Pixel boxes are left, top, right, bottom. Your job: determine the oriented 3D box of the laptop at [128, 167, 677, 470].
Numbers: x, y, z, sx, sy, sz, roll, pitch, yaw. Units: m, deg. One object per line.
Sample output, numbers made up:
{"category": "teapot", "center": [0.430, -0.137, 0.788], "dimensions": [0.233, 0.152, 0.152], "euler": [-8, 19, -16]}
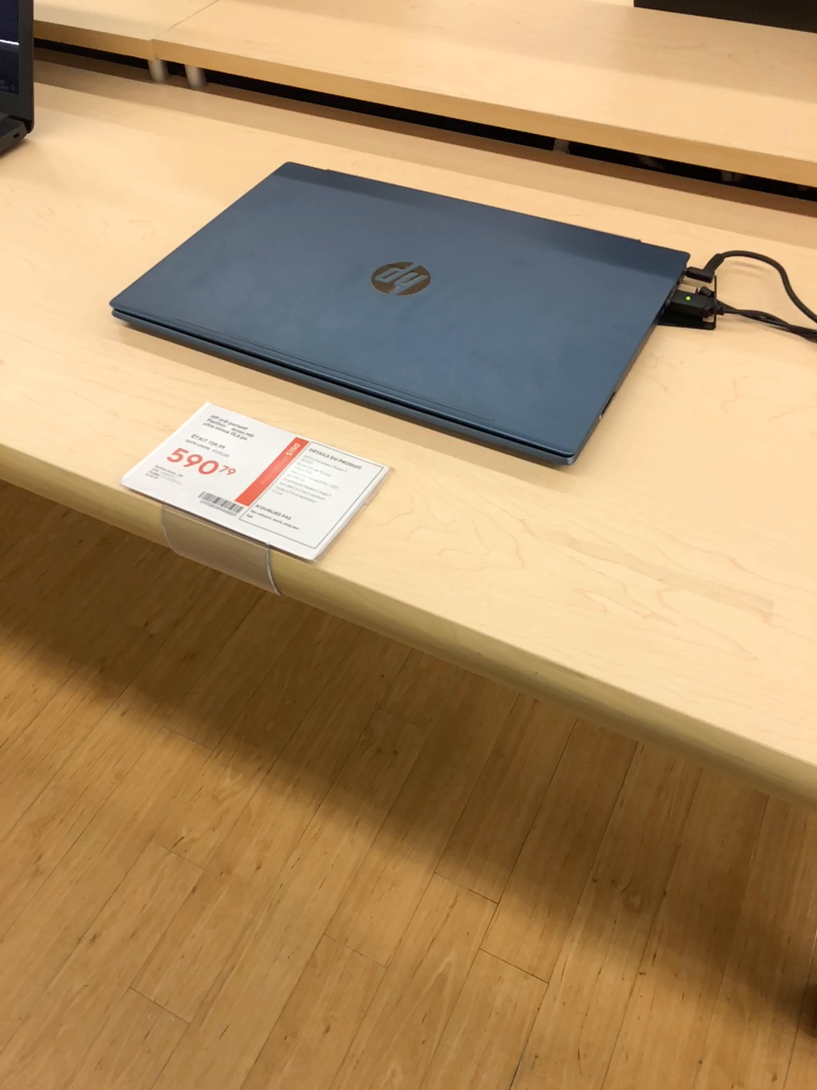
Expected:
{"category": "laptop", "center": [-0.006, -0.188, 0.666], "dimensions": [0.353, 0.012, 0.220], "euler": [21, 56, 21]}
